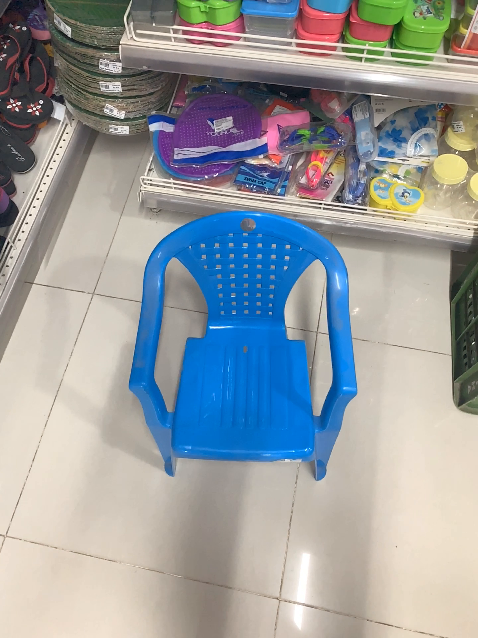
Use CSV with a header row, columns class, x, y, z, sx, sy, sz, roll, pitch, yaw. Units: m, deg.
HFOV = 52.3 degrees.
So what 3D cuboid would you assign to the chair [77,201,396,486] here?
class,x,y,z,sx,sy,sz,roll,pitch,yaw
chair,0.011,0.089,0.916,0.400,0.509,0.360,2,66,3
